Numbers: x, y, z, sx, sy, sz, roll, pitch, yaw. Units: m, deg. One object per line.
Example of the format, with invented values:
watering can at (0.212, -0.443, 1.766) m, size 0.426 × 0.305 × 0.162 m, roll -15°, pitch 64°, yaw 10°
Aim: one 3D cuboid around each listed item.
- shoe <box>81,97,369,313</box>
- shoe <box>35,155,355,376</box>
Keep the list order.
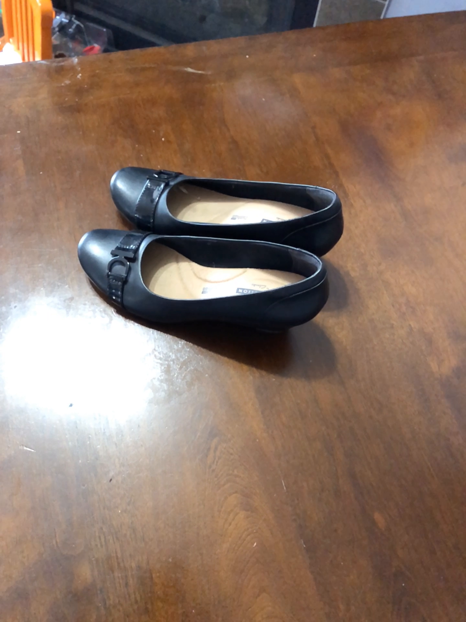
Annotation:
shoe at (-0.010, -0.103, 0.524) m, size 0.250 × 0.110 × 0.090 m, roll 21°, pitch 63°, yaw 5°
shoe at (-0.032, -0.037, 0.479) m, size 0.250 × 0.110 × 0.090 m, roll 18°, pitch 63°, yaw 3°
